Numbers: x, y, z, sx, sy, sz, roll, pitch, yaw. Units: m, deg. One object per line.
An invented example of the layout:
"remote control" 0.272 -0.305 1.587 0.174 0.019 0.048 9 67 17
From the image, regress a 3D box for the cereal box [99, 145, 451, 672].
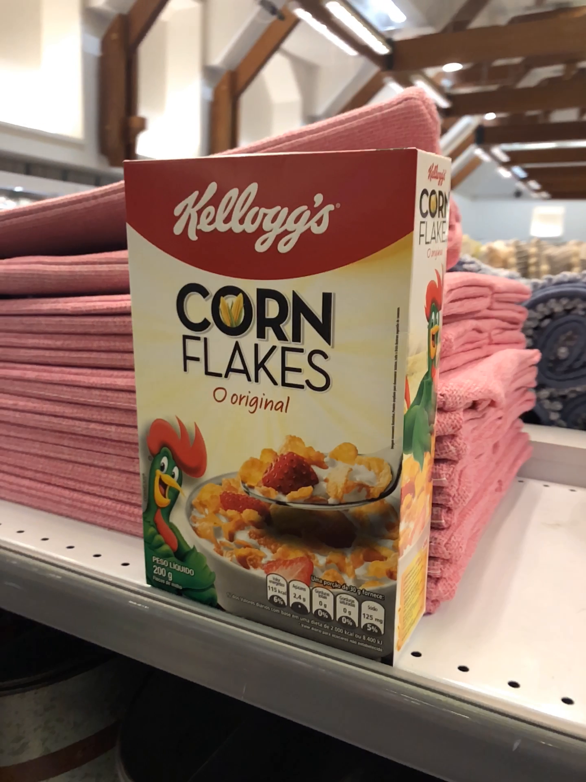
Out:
"cereal box" -0.014 0.003 0.375 0.180 0.259 0.060 8 16 28
